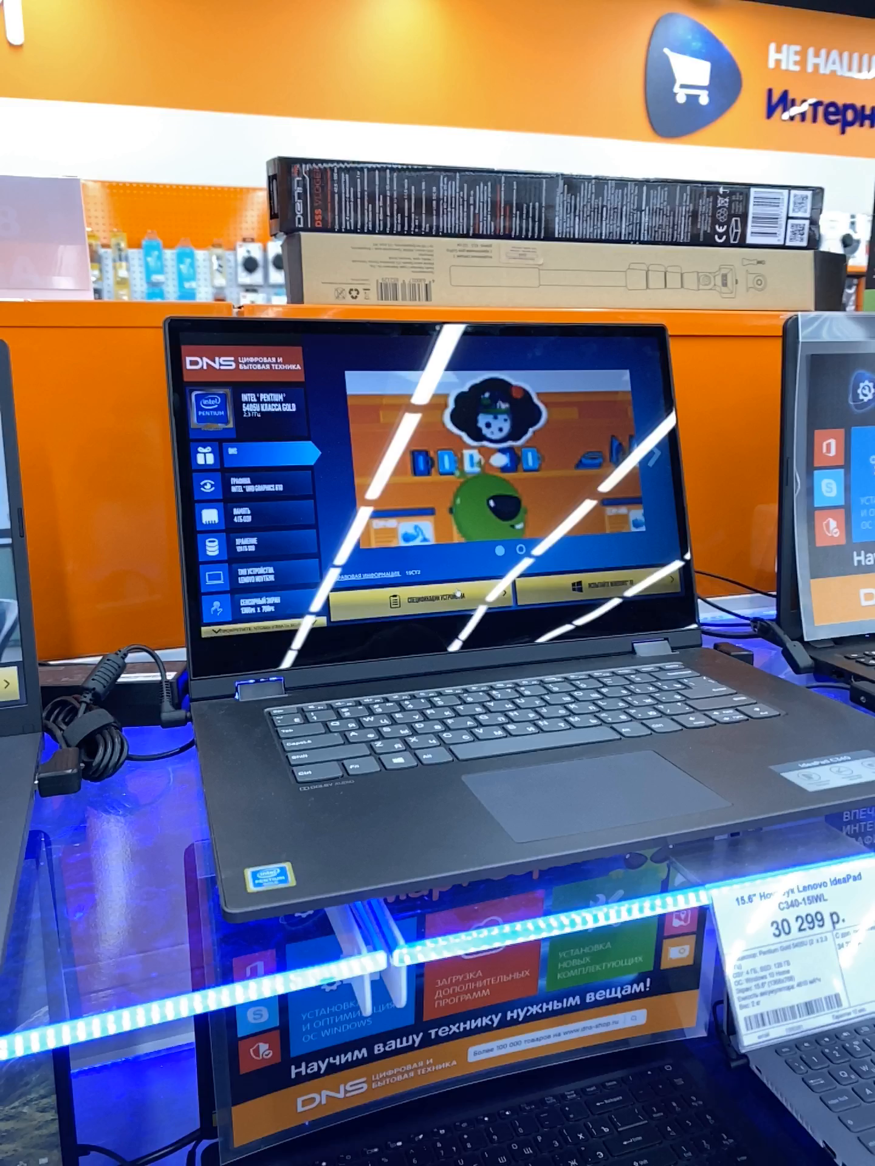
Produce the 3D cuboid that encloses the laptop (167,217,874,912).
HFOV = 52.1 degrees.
[{"bbox_3d":[0.050,-0.039,0.502,0.362,0.232,0.318,-4,11,-19],"label":"laptop"}]
